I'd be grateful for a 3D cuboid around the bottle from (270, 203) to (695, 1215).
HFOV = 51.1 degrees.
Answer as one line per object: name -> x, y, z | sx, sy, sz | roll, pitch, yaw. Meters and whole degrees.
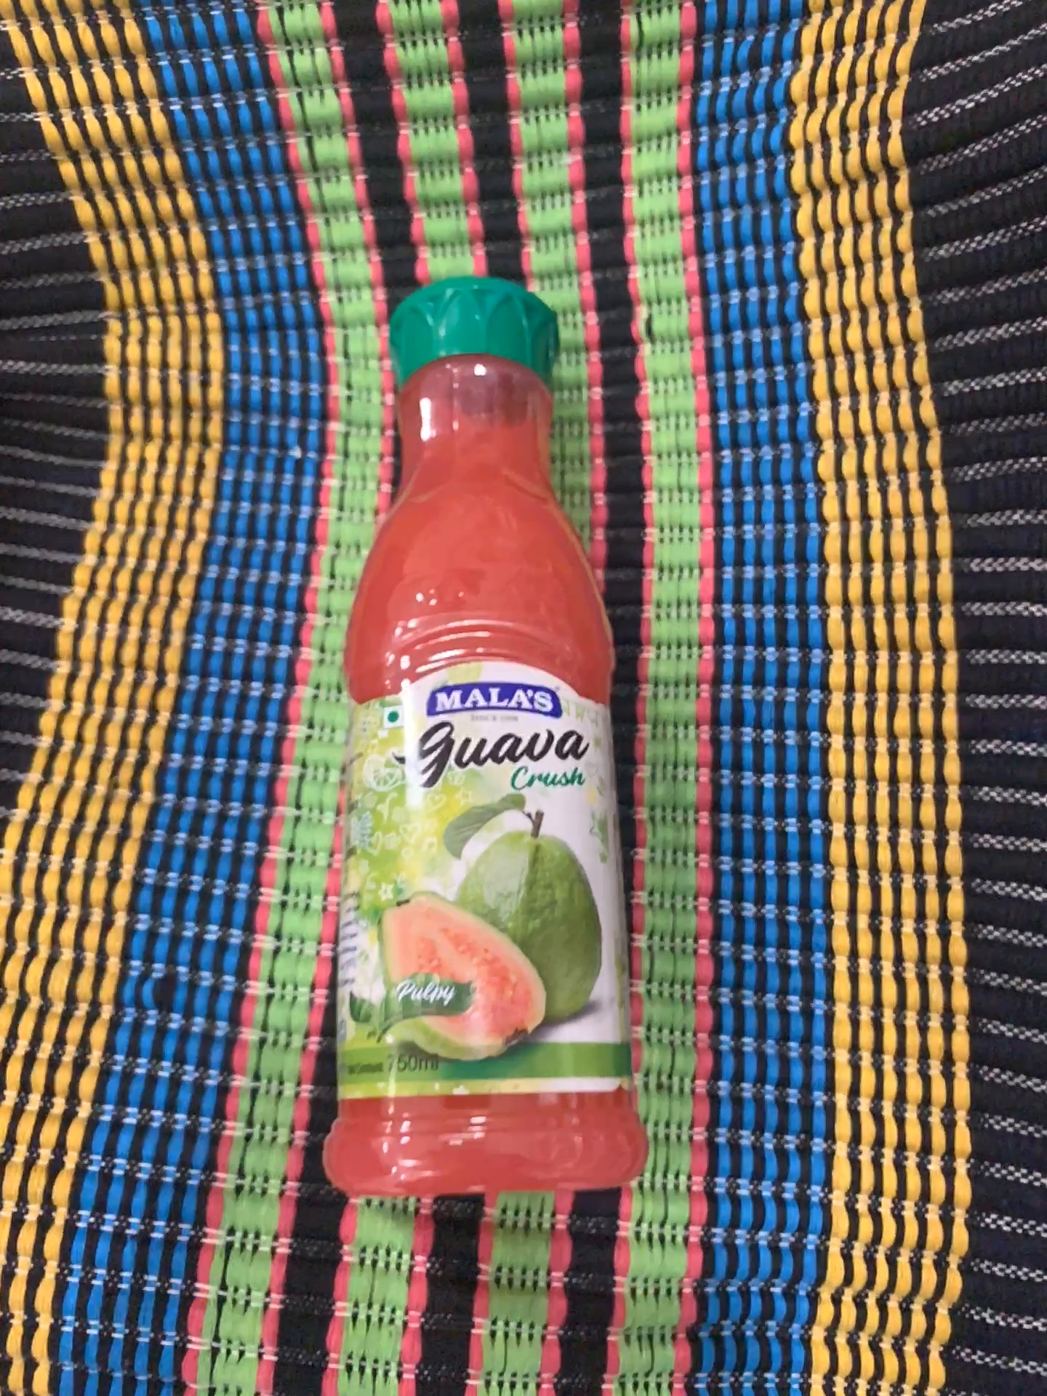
bottle -> -0.016, -0.007, 0.296 | 0.080, 0.080, 0.260 | -2, 65, -4
